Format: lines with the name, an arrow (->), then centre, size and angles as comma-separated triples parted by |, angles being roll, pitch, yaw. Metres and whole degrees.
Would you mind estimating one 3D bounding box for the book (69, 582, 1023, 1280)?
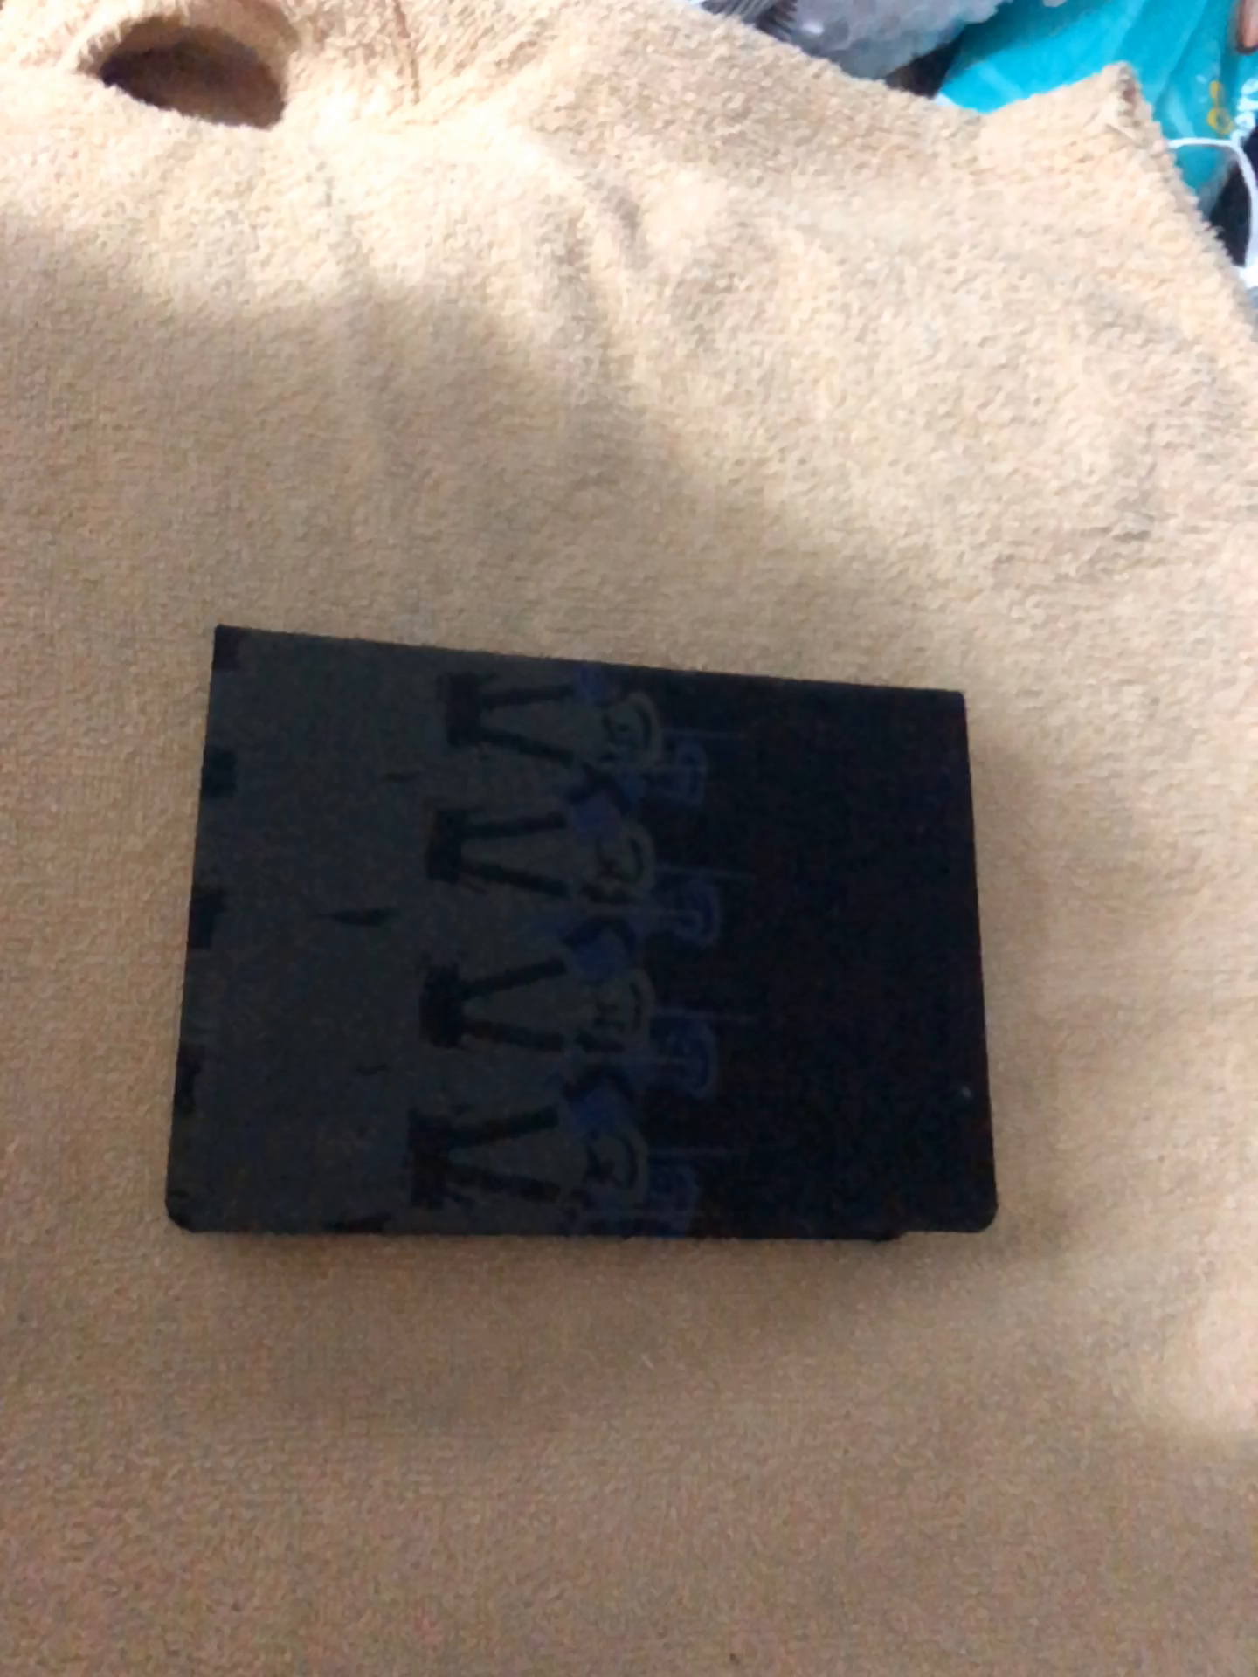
book -> -0.015, 0.026, 0.319 | 0.190, 0.050, 0.140 | 4, 74, -12
